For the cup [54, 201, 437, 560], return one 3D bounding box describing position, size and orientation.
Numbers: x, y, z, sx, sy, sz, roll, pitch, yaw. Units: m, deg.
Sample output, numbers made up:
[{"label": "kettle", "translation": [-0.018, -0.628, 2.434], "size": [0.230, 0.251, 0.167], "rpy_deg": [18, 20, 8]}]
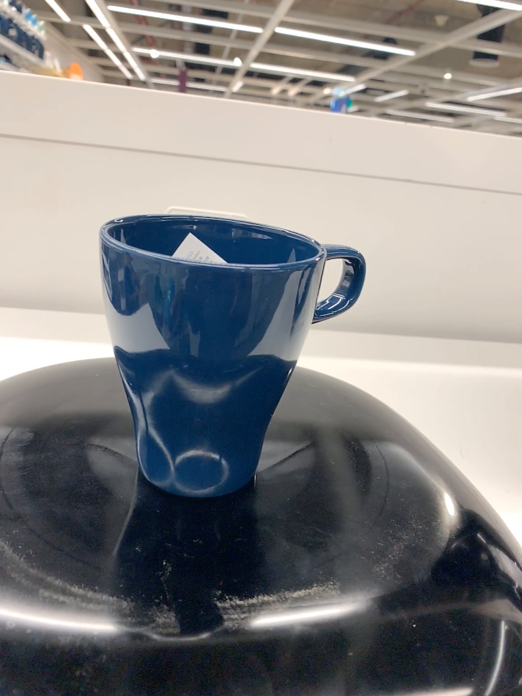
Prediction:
[{"label": "cup", "translation": [-0.008, -0.002, 0.227], "size": [0.120, 0.100, 0.090], "rpy_deg": [-11, 26, -42]}]
